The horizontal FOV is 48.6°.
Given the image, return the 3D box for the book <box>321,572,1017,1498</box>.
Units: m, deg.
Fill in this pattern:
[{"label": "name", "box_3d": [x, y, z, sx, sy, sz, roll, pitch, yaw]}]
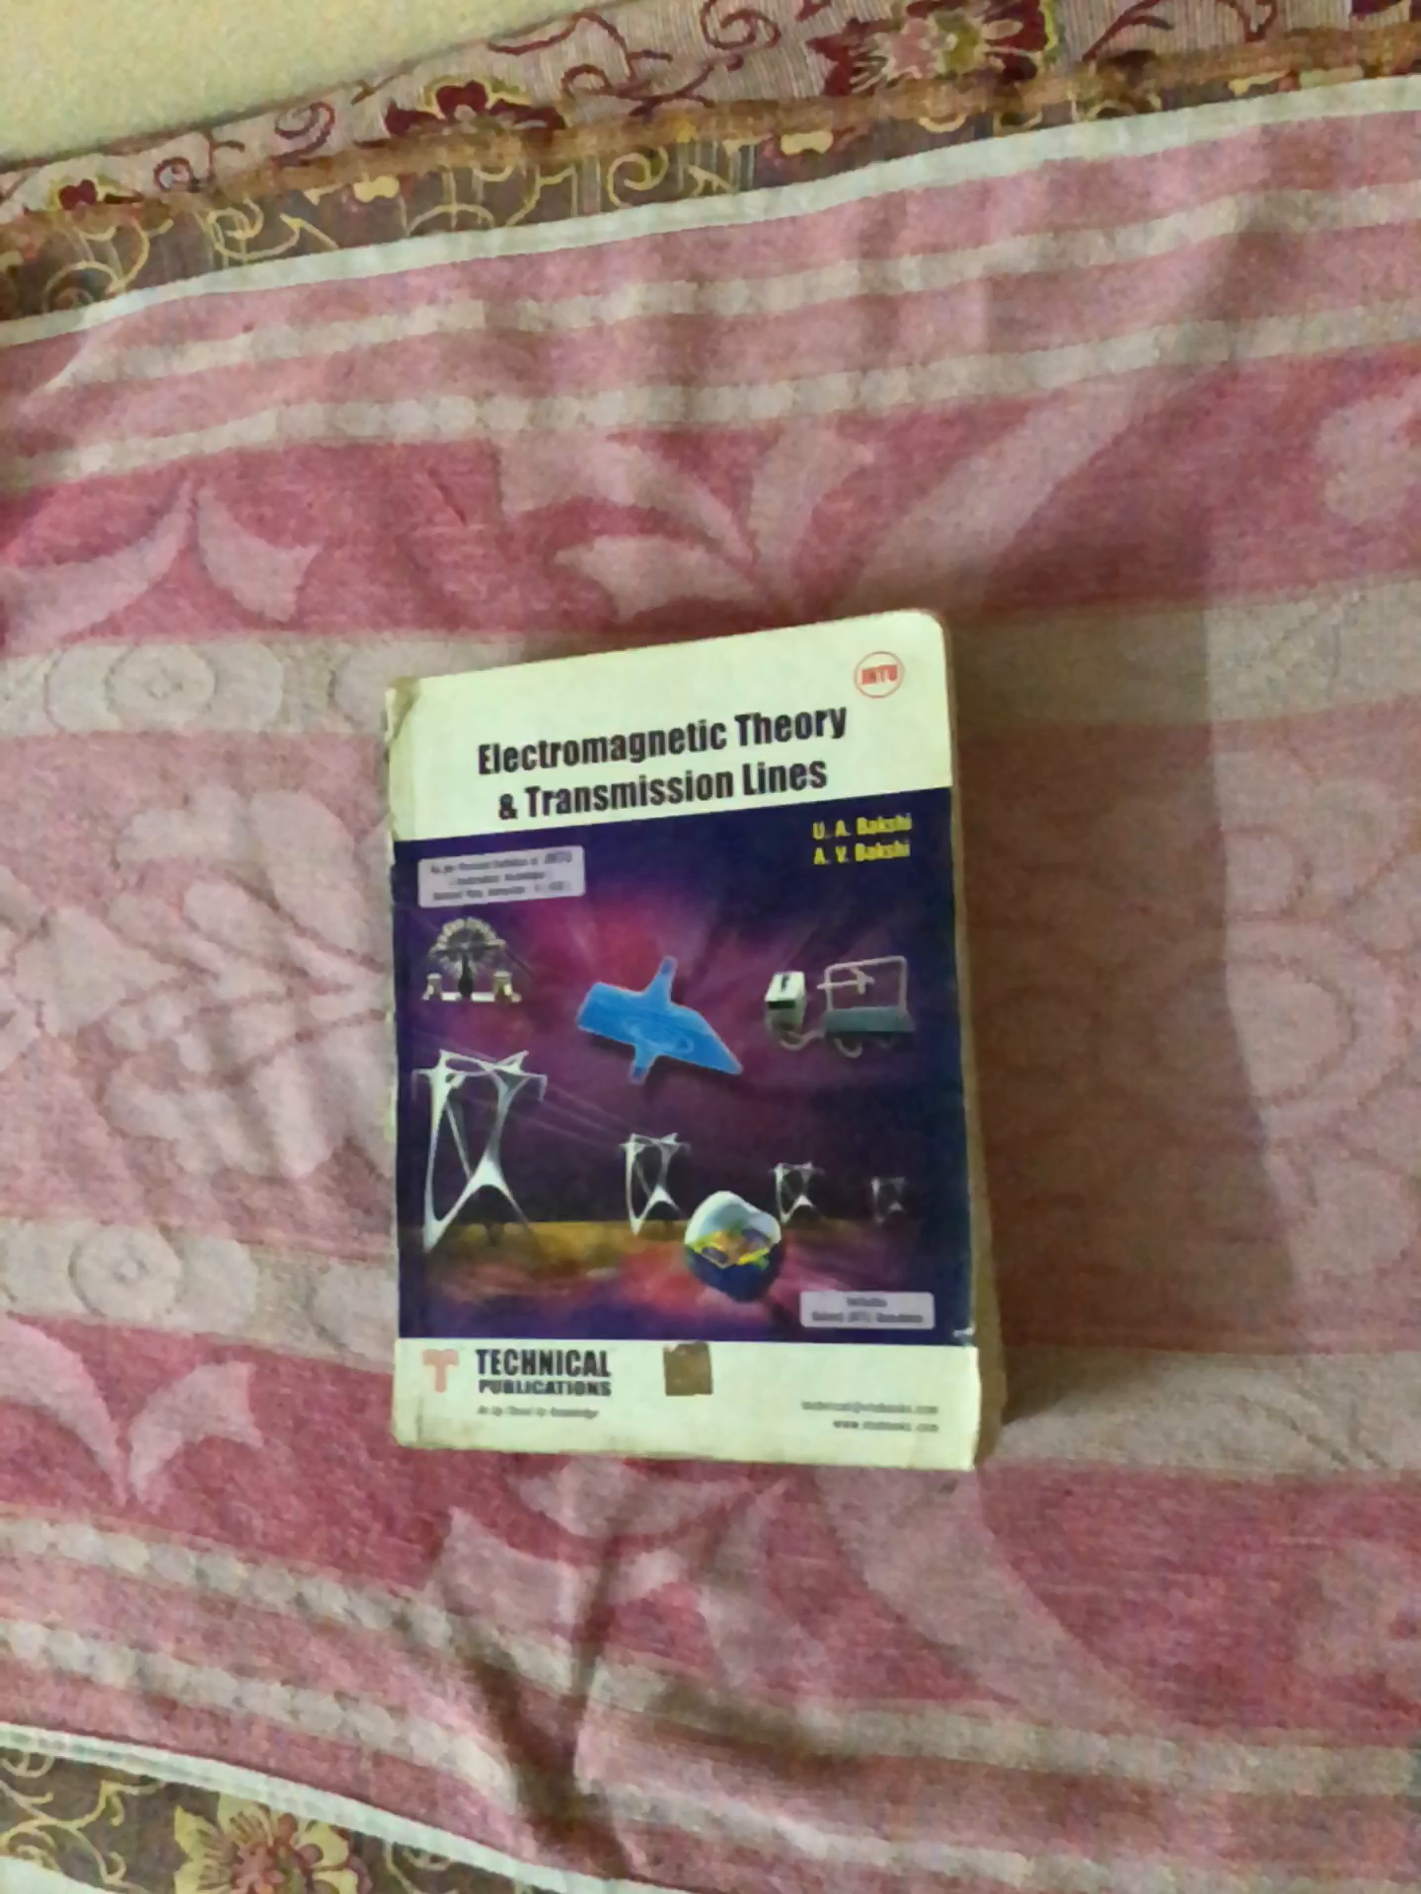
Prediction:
[{"label": "book", "box_3d": [-0.017, 0.030, 0.486, 0.200, 0.060, 0.250, -4, 82, 20]}]
